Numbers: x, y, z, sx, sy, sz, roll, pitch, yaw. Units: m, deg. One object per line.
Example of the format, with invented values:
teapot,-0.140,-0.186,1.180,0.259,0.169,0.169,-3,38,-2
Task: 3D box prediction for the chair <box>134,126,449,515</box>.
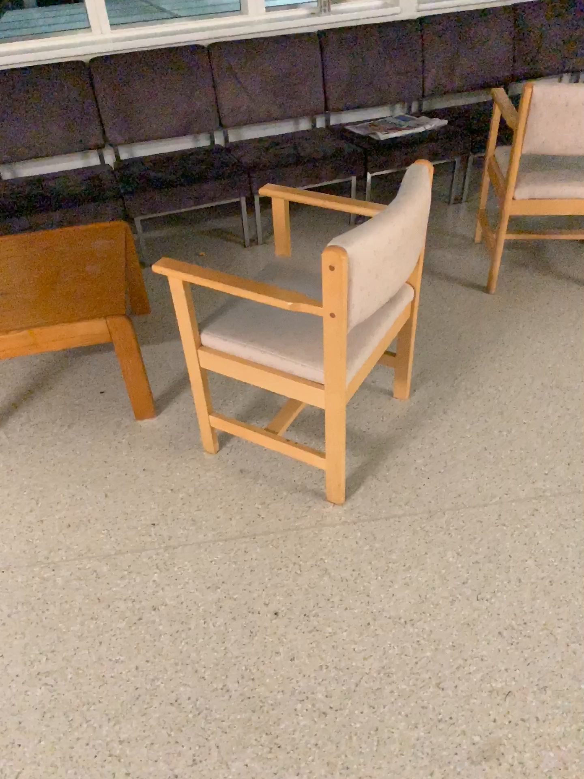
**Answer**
chair,0.035,-0.189,1.544,0.511,0.752,0.514,18,44,24
